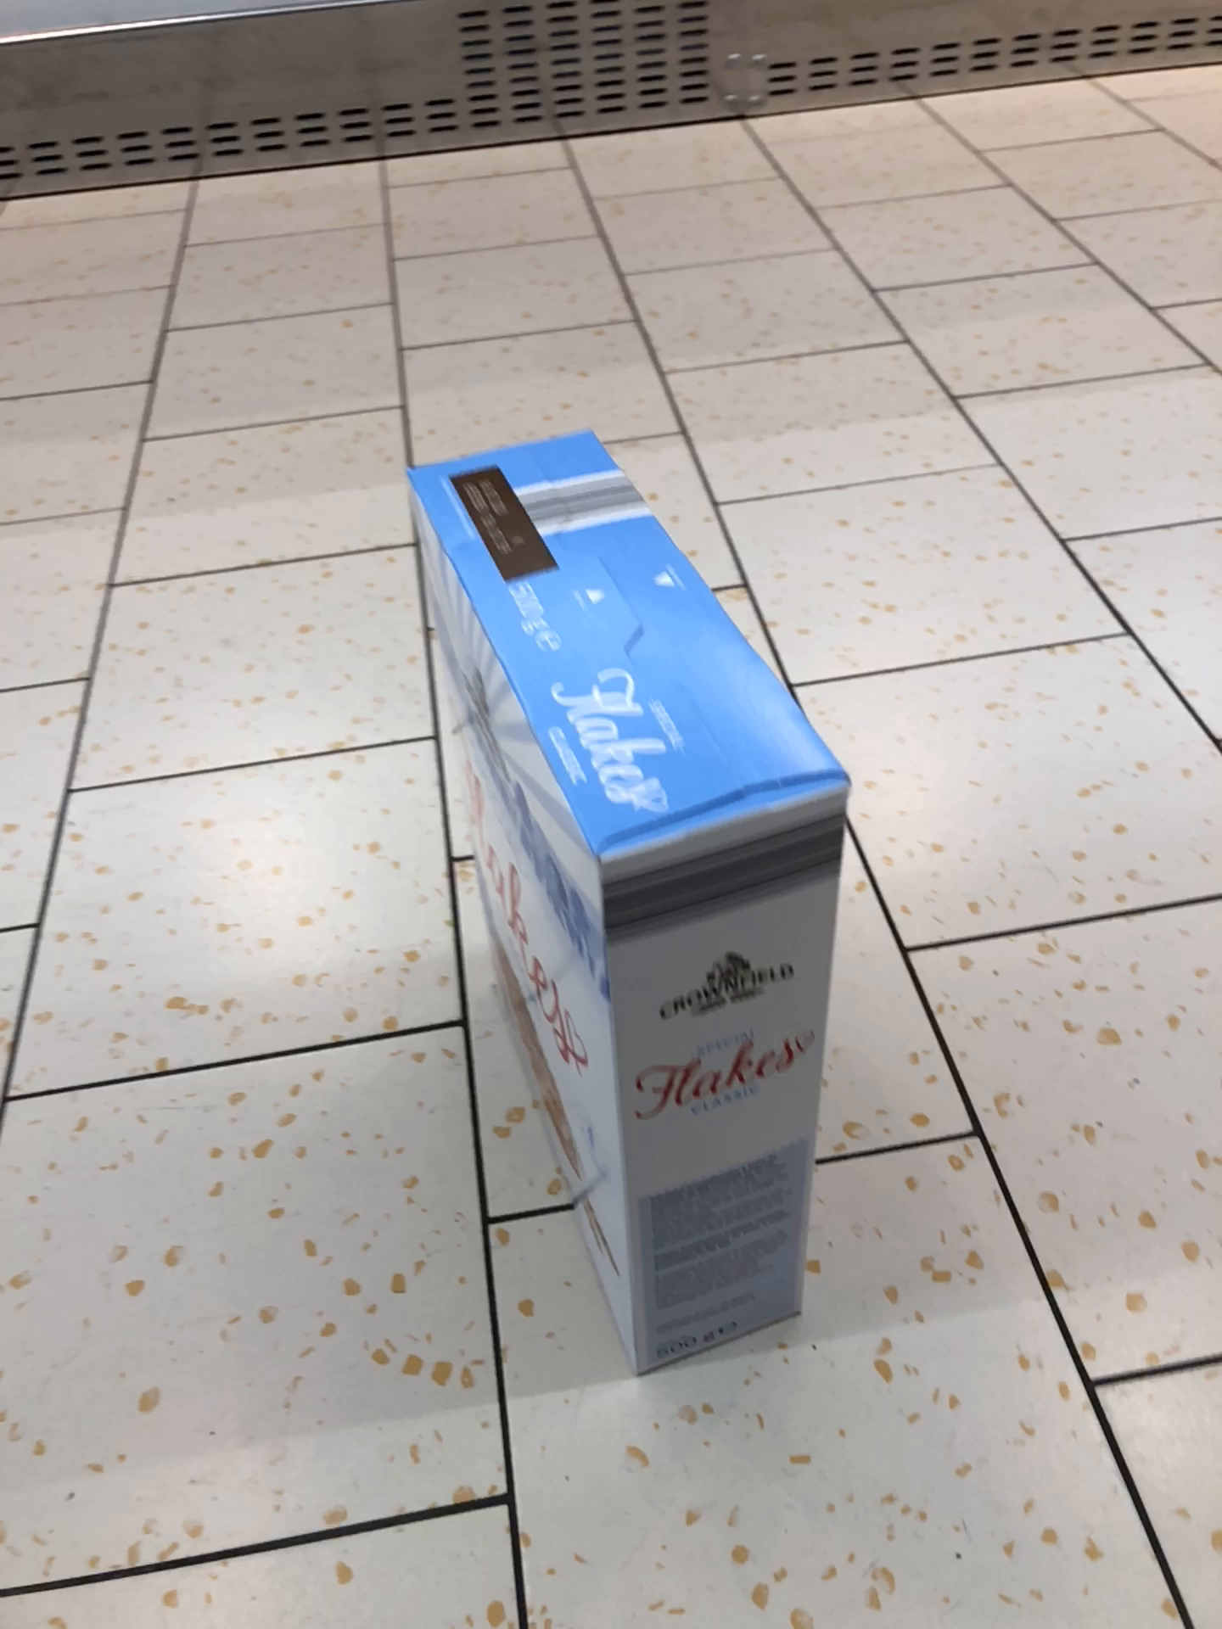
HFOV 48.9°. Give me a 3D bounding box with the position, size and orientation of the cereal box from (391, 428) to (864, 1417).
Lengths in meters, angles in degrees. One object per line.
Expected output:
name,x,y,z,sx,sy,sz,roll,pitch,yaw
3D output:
cereal box,0.001,0.041,0.462,0.070,0.268,0.201,-15,43,-12
